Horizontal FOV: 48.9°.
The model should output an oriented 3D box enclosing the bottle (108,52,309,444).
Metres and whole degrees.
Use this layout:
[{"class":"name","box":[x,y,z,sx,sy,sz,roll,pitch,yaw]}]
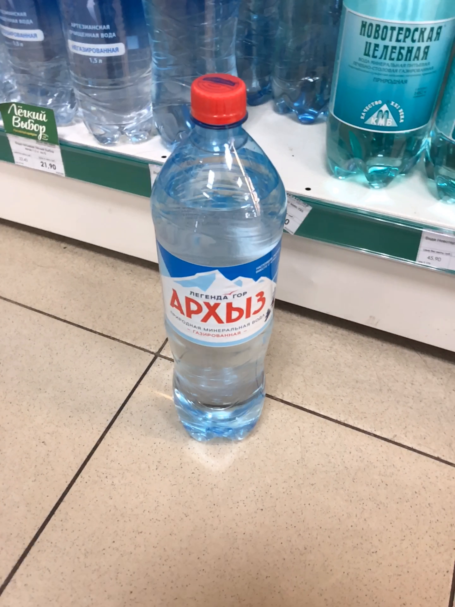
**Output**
[{"class":"bottle","box":[-0.007,-0.009,0.373,0.093,0.305,0.086,0,47,0]}]
